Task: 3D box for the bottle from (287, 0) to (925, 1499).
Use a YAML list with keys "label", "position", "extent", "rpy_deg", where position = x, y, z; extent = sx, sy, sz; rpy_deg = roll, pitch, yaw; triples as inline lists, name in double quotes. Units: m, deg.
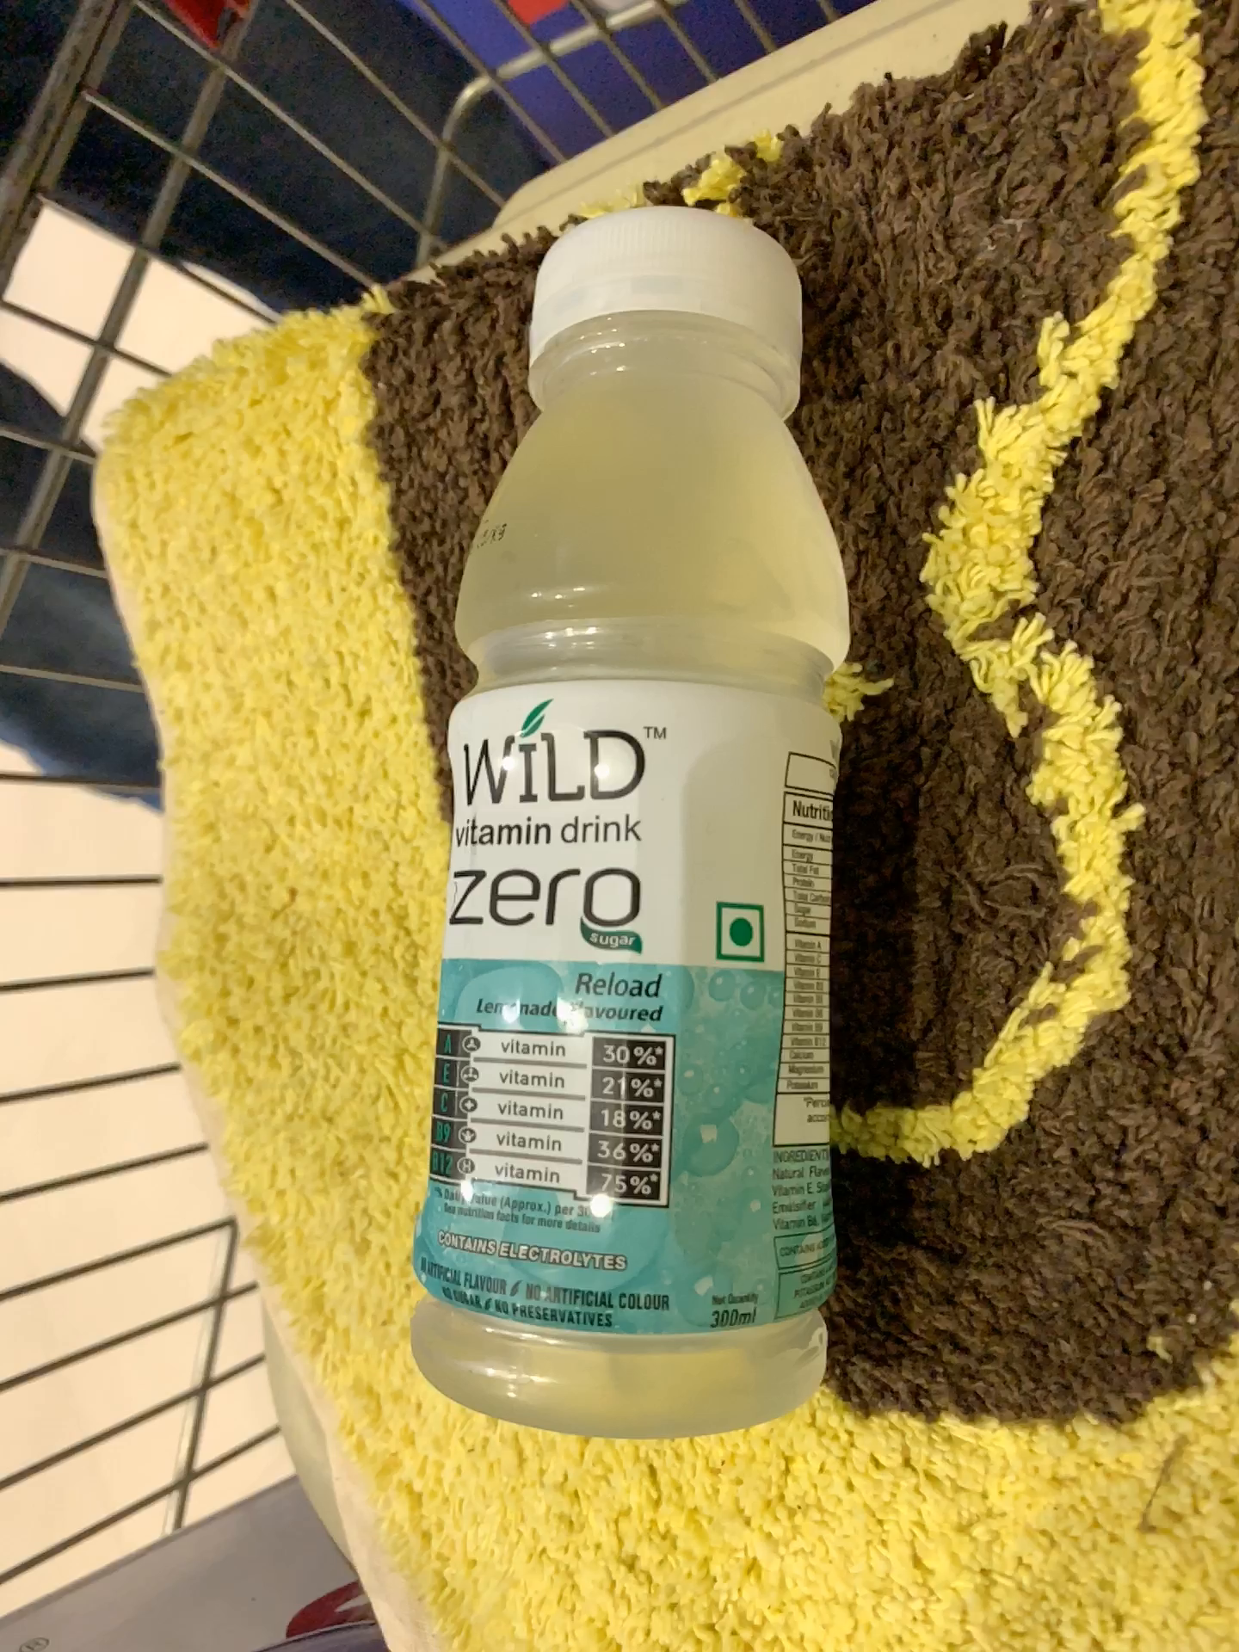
- label: "bottle"
  position: [0.000, -0.011, 0.168]
  extent: [0.060, 0.040, 0.160]
  rpy_deg: [-2, 80, 37]
